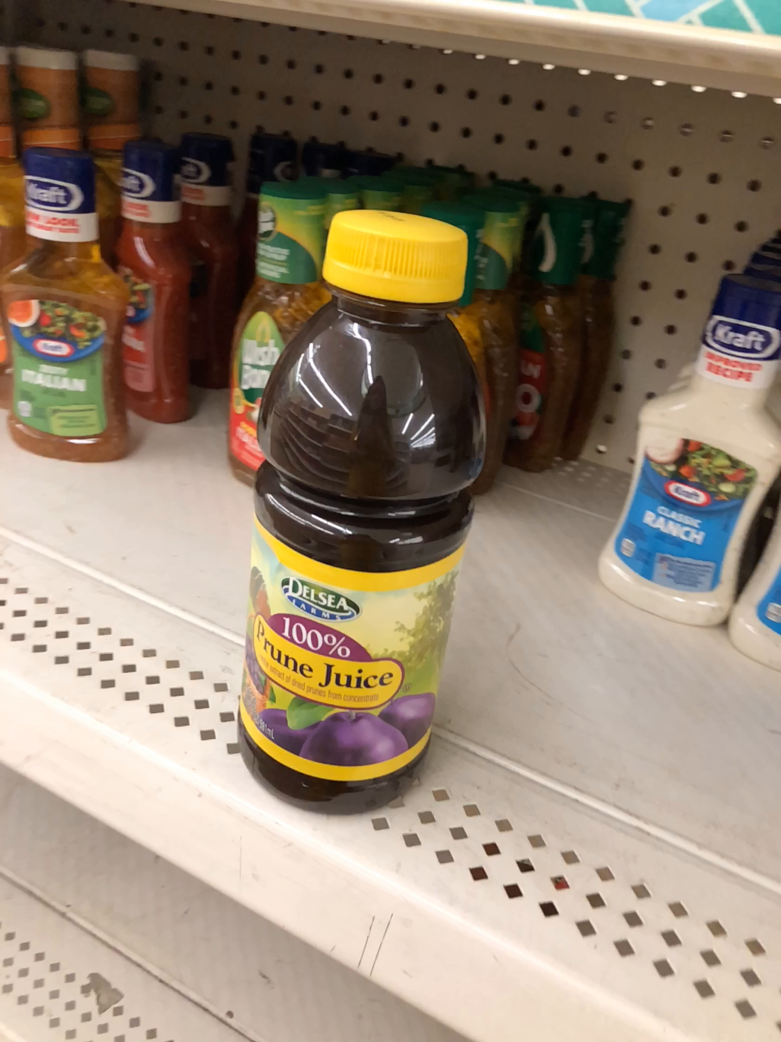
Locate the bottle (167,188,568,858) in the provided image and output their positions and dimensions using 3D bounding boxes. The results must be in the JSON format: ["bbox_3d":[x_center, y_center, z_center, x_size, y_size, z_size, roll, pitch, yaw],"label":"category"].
[{"bbox_3d":[-0.012,-0.001,0.276,0.080,0.181,0.080,6,28,-3],"label":"bottle"}]
